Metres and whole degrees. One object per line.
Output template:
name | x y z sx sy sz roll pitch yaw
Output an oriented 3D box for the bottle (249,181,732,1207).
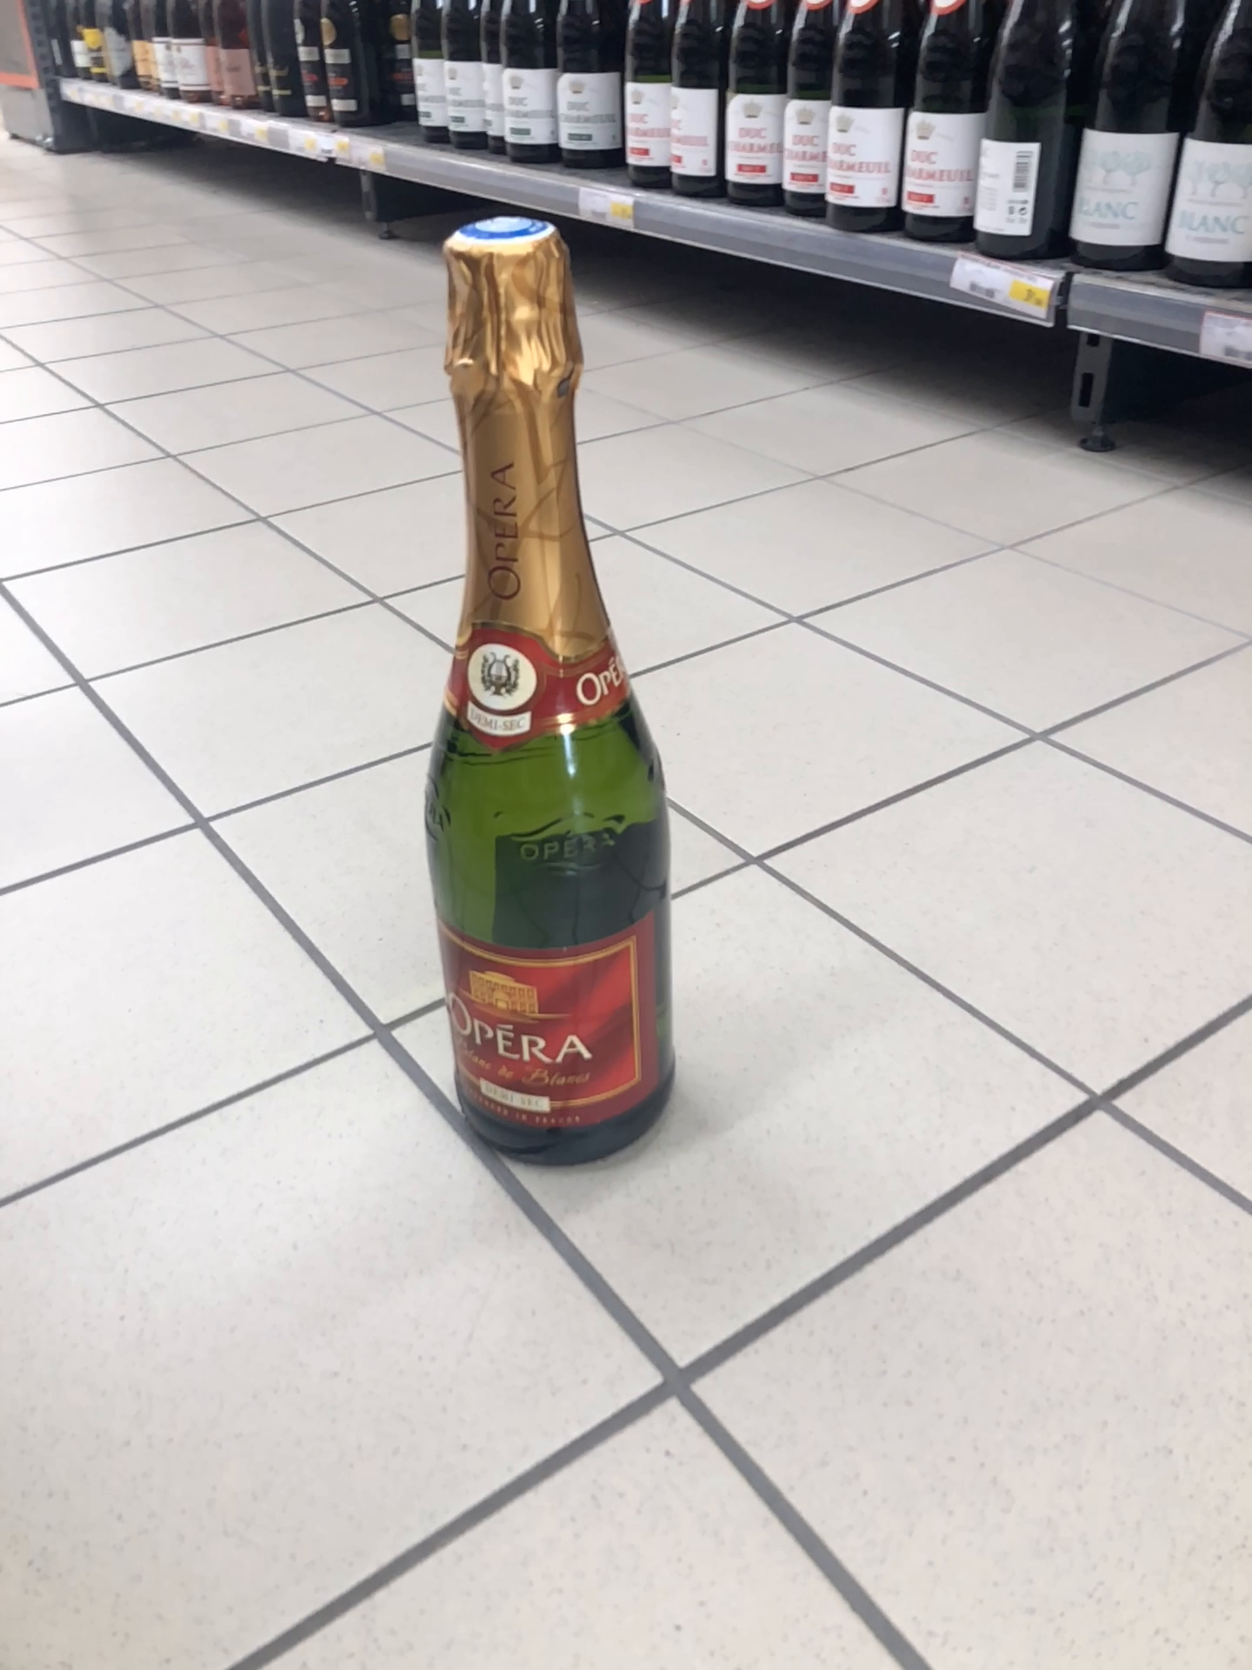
bottle | -0.029 -0.035 0.432 0.090 0.298 0.091 -1 31 1
